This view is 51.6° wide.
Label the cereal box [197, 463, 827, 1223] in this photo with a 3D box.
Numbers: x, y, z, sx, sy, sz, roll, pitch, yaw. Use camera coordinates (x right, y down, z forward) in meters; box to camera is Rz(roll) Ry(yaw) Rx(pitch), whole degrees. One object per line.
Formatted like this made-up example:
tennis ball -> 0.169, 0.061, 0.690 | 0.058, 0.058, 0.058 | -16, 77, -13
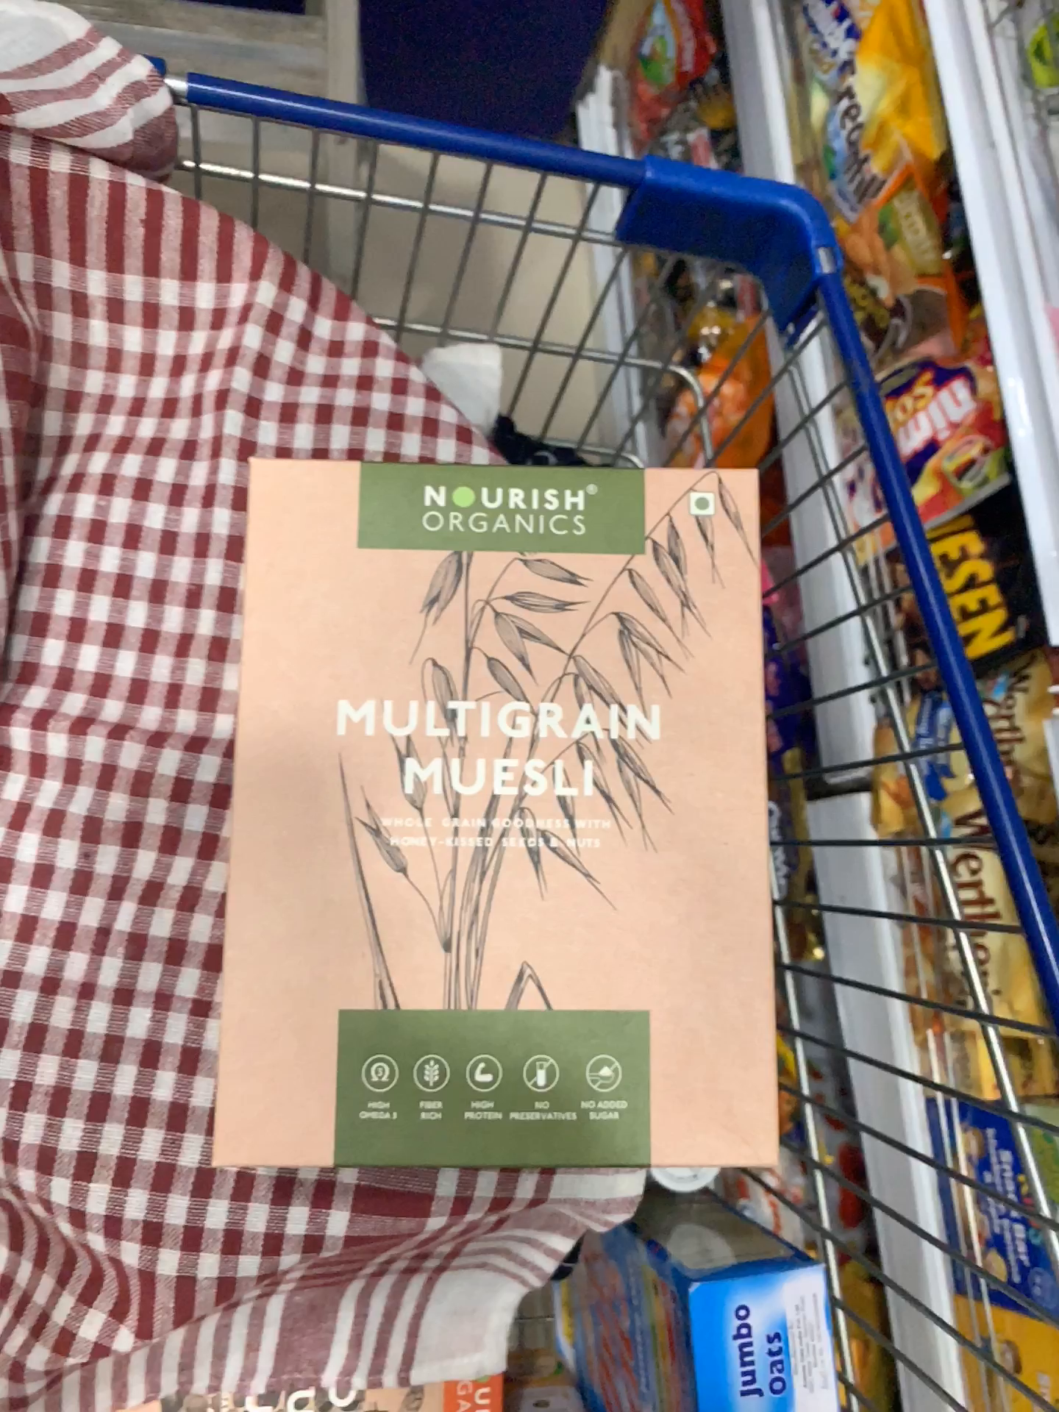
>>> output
cereal box -> -0.004, 0.036, 0.320 | 0.160, 0.050, 0.200 | 1, 80, -4
